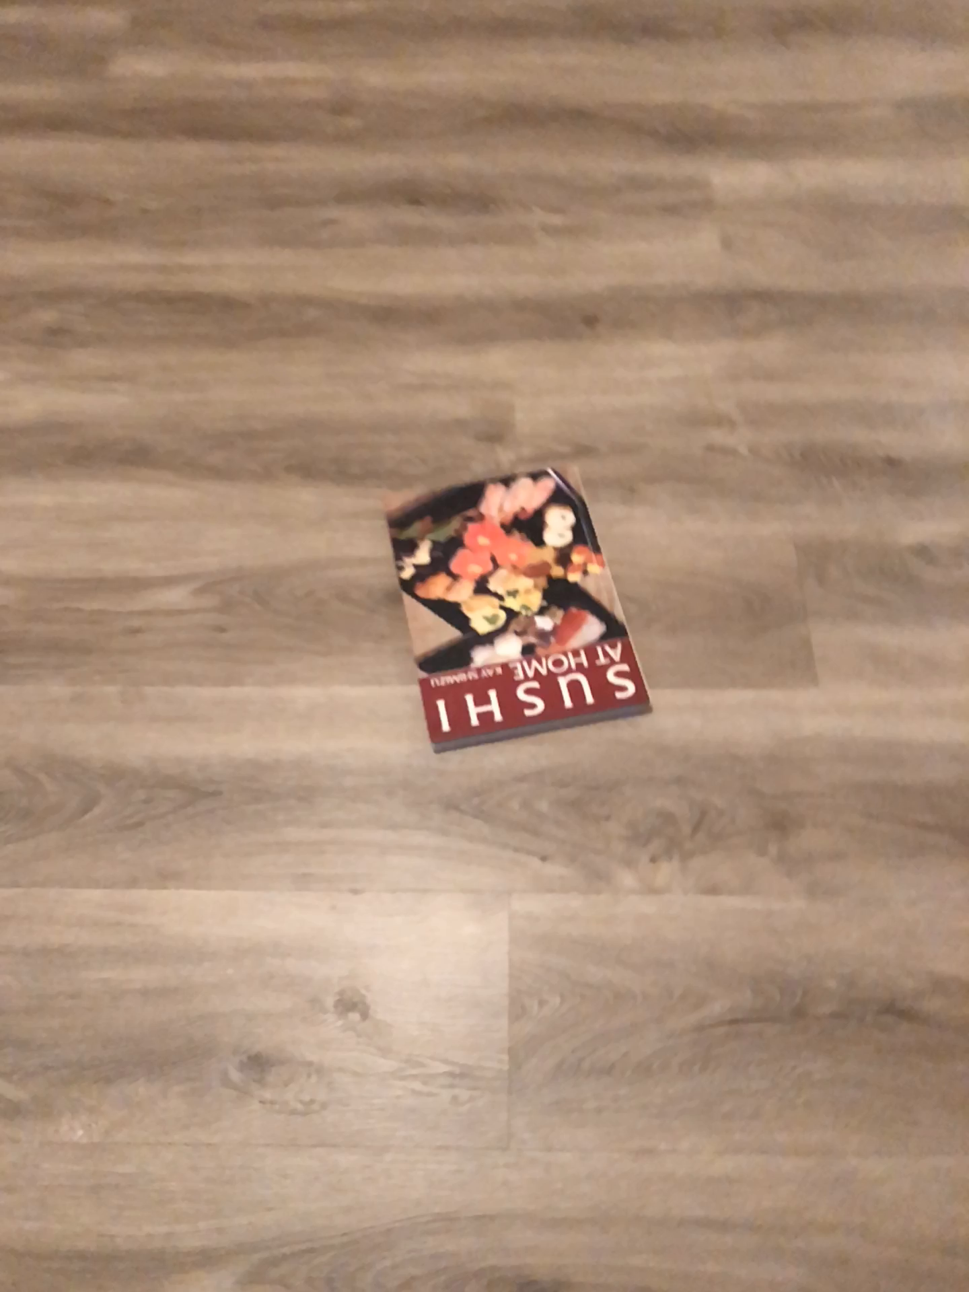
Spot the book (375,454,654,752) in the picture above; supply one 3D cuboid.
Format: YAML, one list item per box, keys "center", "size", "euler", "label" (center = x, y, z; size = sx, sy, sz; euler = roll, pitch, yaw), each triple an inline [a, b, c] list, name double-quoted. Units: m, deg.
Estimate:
- center: [0.018, -0.046, 0.933]
  size: [0.190, 0.030, 0.259]
  euler: [-10, 59, -5]
  label: "book"
